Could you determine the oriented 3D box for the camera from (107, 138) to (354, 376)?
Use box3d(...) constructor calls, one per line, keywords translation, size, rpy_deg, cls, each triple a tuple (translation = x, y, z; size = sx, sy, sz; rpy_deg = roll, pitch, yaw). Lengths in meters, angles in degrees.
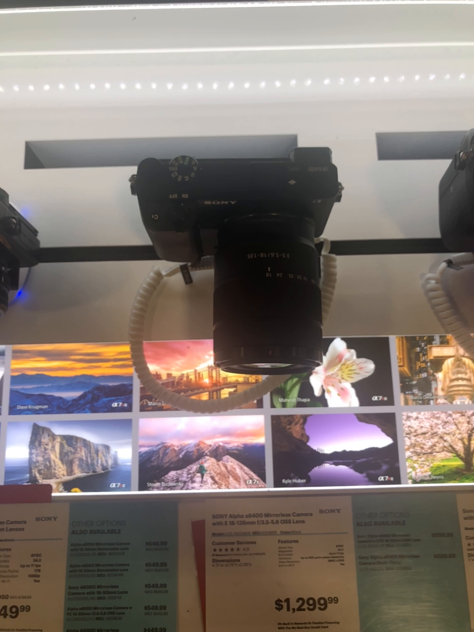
box3d(translation=(-0.003, -0.031, 0.325), size=(0.130, 0.070, 0.130), rpy_deg=(0, 79, 1), cls="camera")
